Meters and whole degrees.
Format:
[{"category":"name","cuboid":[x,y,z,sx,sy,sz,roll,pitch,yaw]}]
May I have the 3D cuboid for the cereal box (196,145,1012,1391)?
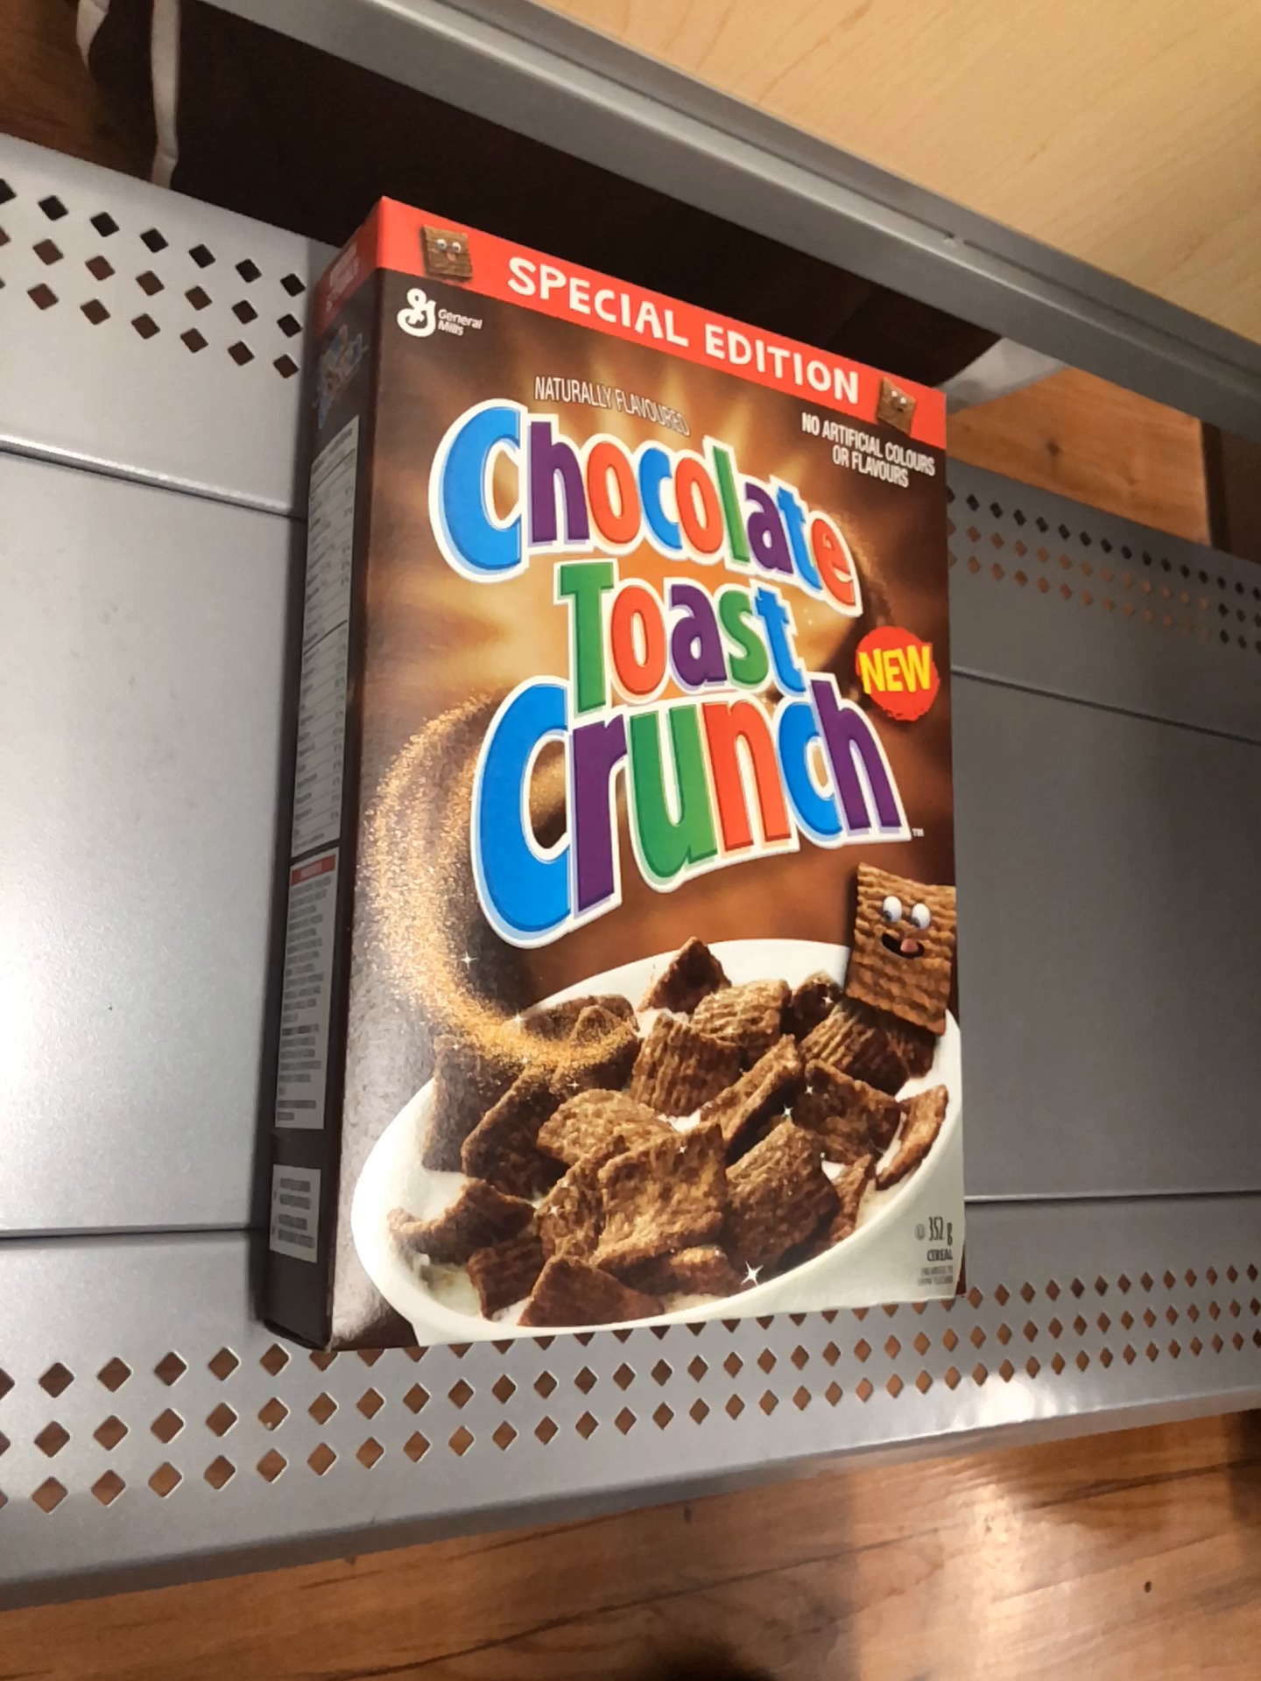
[{"category":"cereal box","cuboid":[-0.002,-0.011,0.402,0.200,0.090,0.290,7,76,-31]}]
